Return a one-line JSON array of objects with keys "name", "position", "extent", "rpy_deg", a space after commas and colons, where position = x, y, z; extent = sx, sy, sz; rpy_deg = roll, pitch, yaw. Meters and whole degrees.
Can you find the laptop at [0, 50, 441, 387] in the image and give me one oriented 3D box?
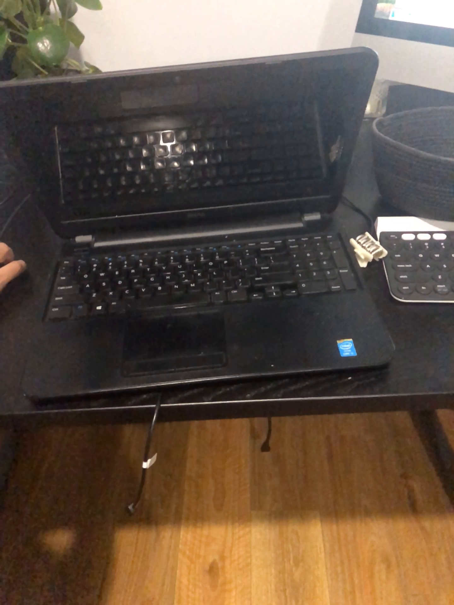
[{"name": "laptop", "position": [-0.040, -0.081, 0.489], "extent": [0.366, 0.210, 0.207], "rpy_deg": [-5, 44, 0]}]
